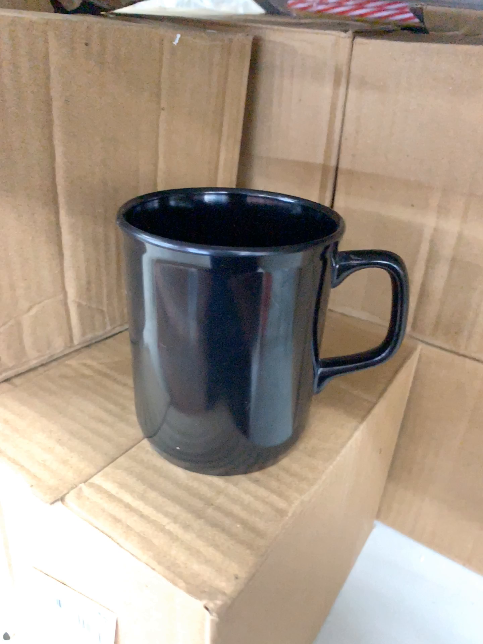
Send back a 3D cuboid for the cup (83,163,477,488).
[{"bbox_3d":[0.009,-0.001,0.181,0.100,0.089,0.071,2,30,-1],"label":"cup"}]
